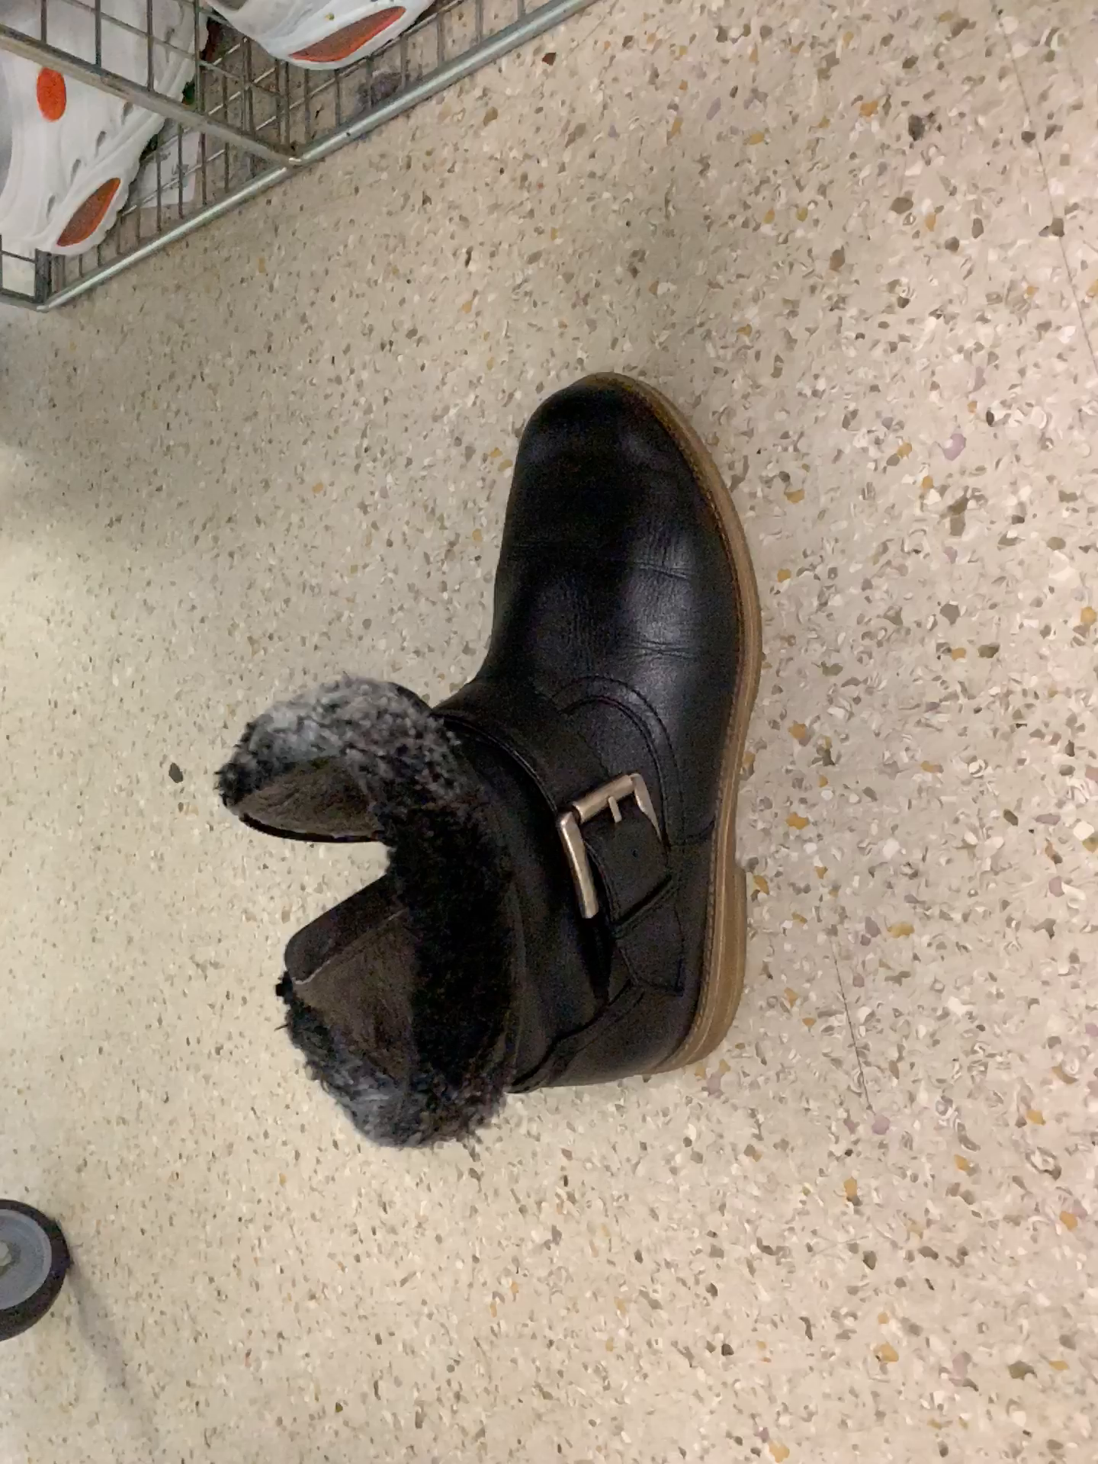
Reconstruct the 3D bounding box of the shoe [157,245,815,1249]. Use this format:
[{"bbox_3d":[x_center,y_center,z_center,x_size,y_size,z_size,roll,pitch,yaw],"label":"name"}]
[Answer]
[{"bbox_3d":[-0.015,0.004,0.360,0.105,0.168,0.237,-8,86,43],"label":"shoe"}]
